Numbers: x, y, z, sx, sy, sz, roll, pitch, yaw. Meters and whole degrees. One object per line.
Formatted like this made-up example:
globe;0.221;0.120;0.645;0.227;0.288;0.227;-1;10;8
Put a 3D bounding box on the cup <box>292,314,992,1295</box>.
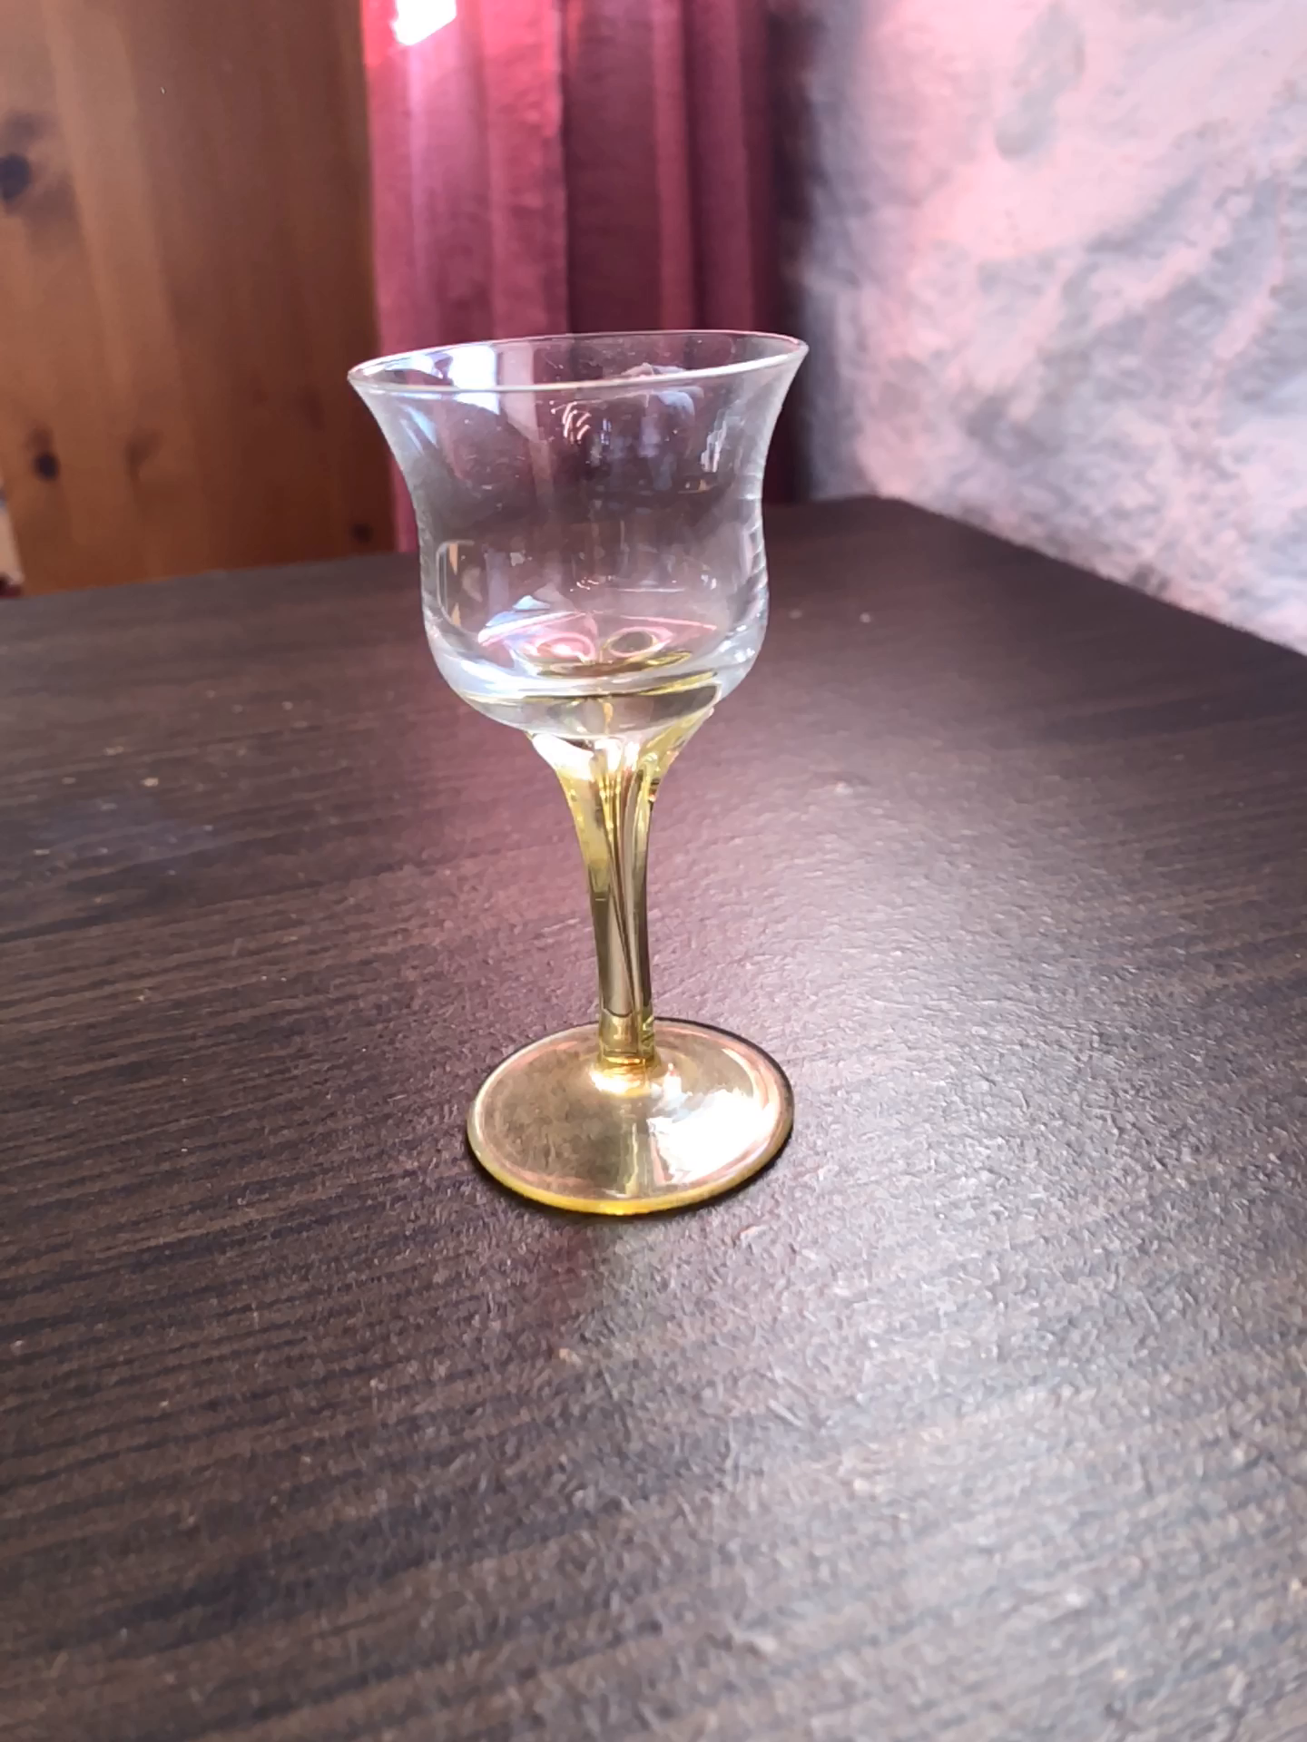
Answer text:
cup;-0.003;-0.012;0.168;0.058;0.093;0.051;-9;24;-17
